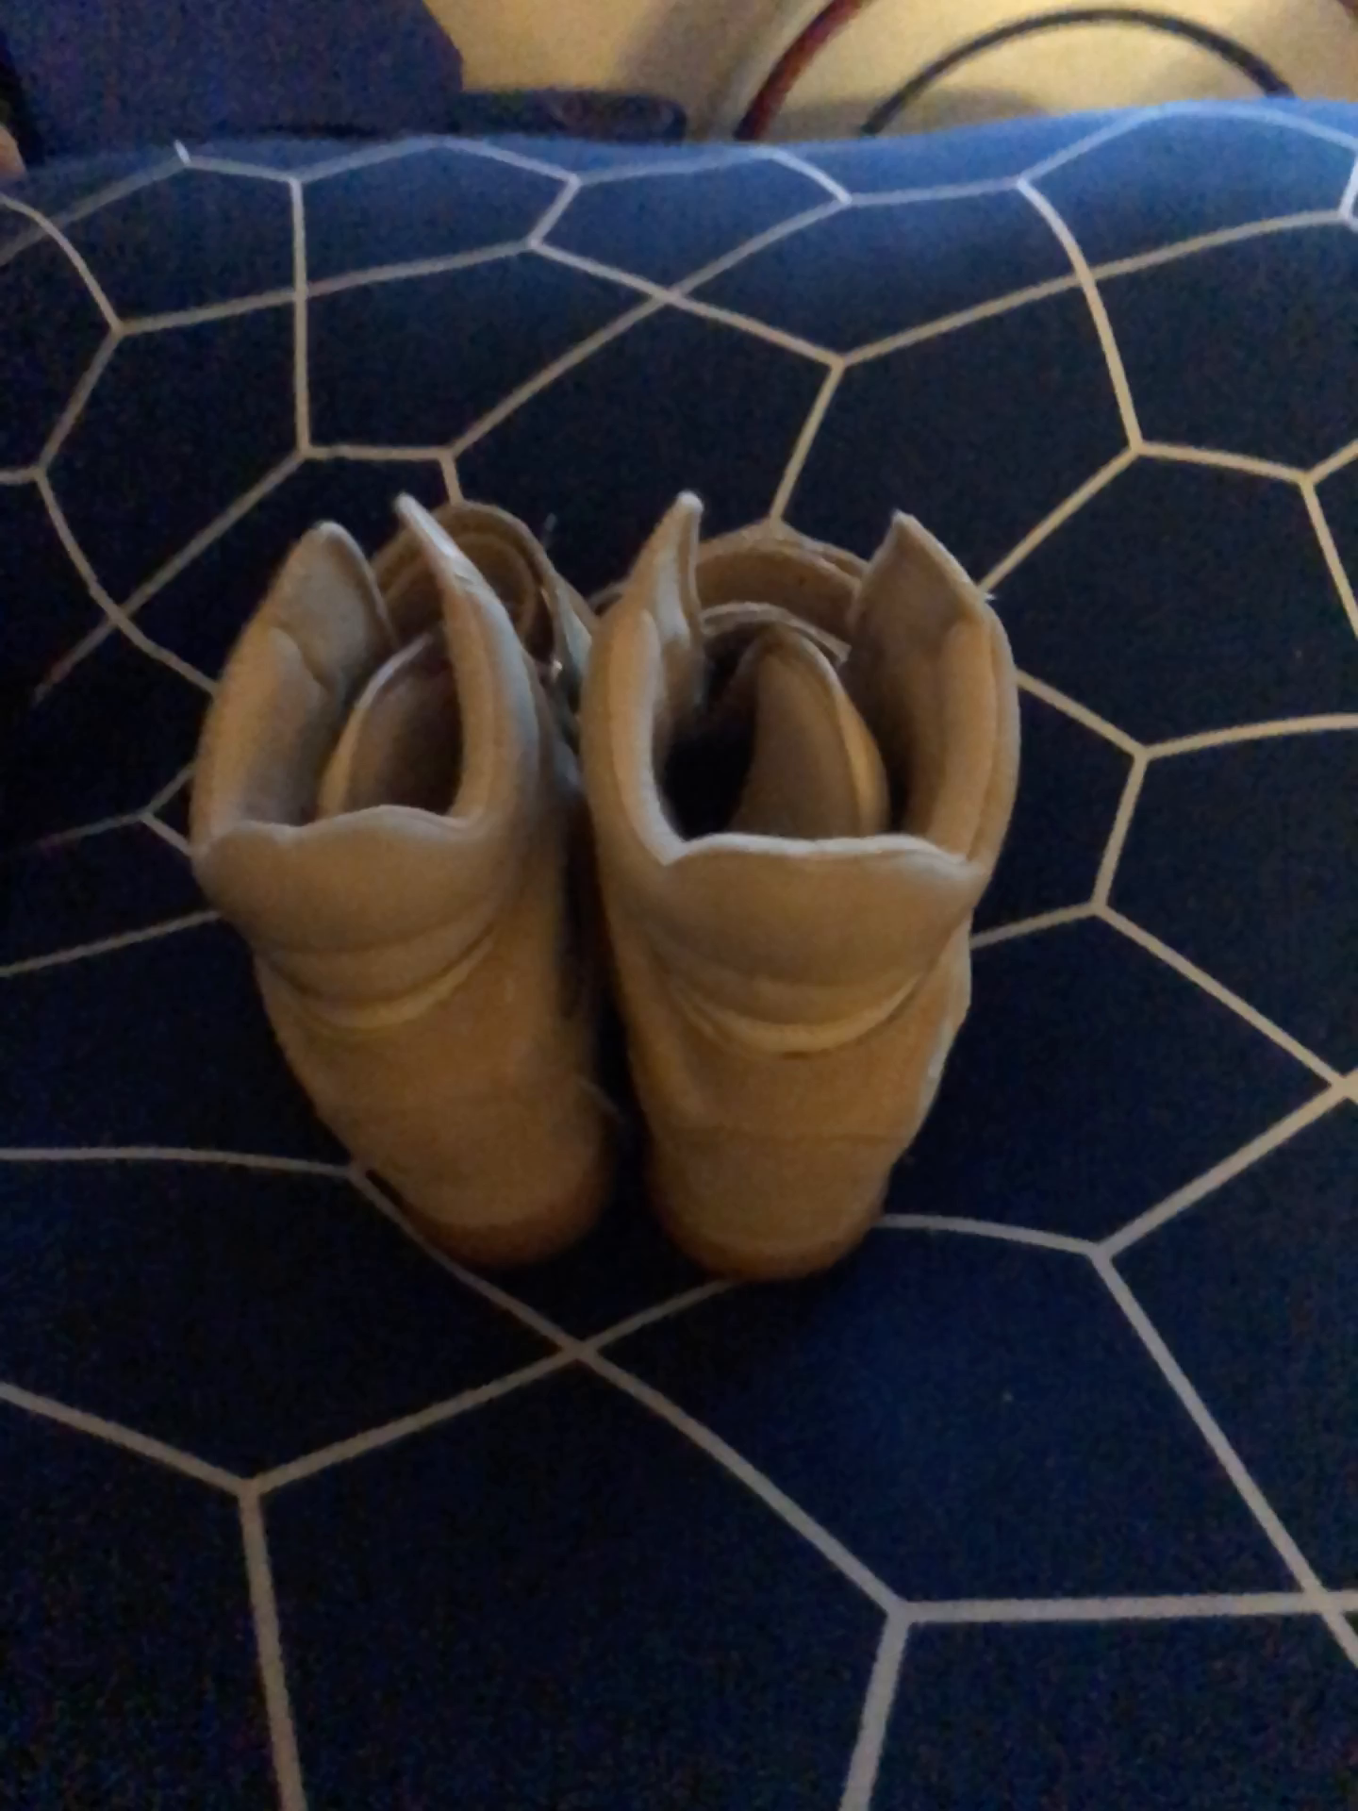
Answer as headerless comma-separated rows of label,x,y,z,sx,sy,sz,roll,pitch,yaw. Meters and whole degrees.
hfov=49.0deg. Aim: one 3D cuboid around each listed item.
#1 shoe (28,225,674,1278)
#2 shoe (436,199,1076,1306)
shoe,-0.058,-0.056,0.395,0.100,0.139,0.262,-4,44,2
shoe,0.022,-0.058,0.378,0.100,0.129,0.282,-1,44,5
